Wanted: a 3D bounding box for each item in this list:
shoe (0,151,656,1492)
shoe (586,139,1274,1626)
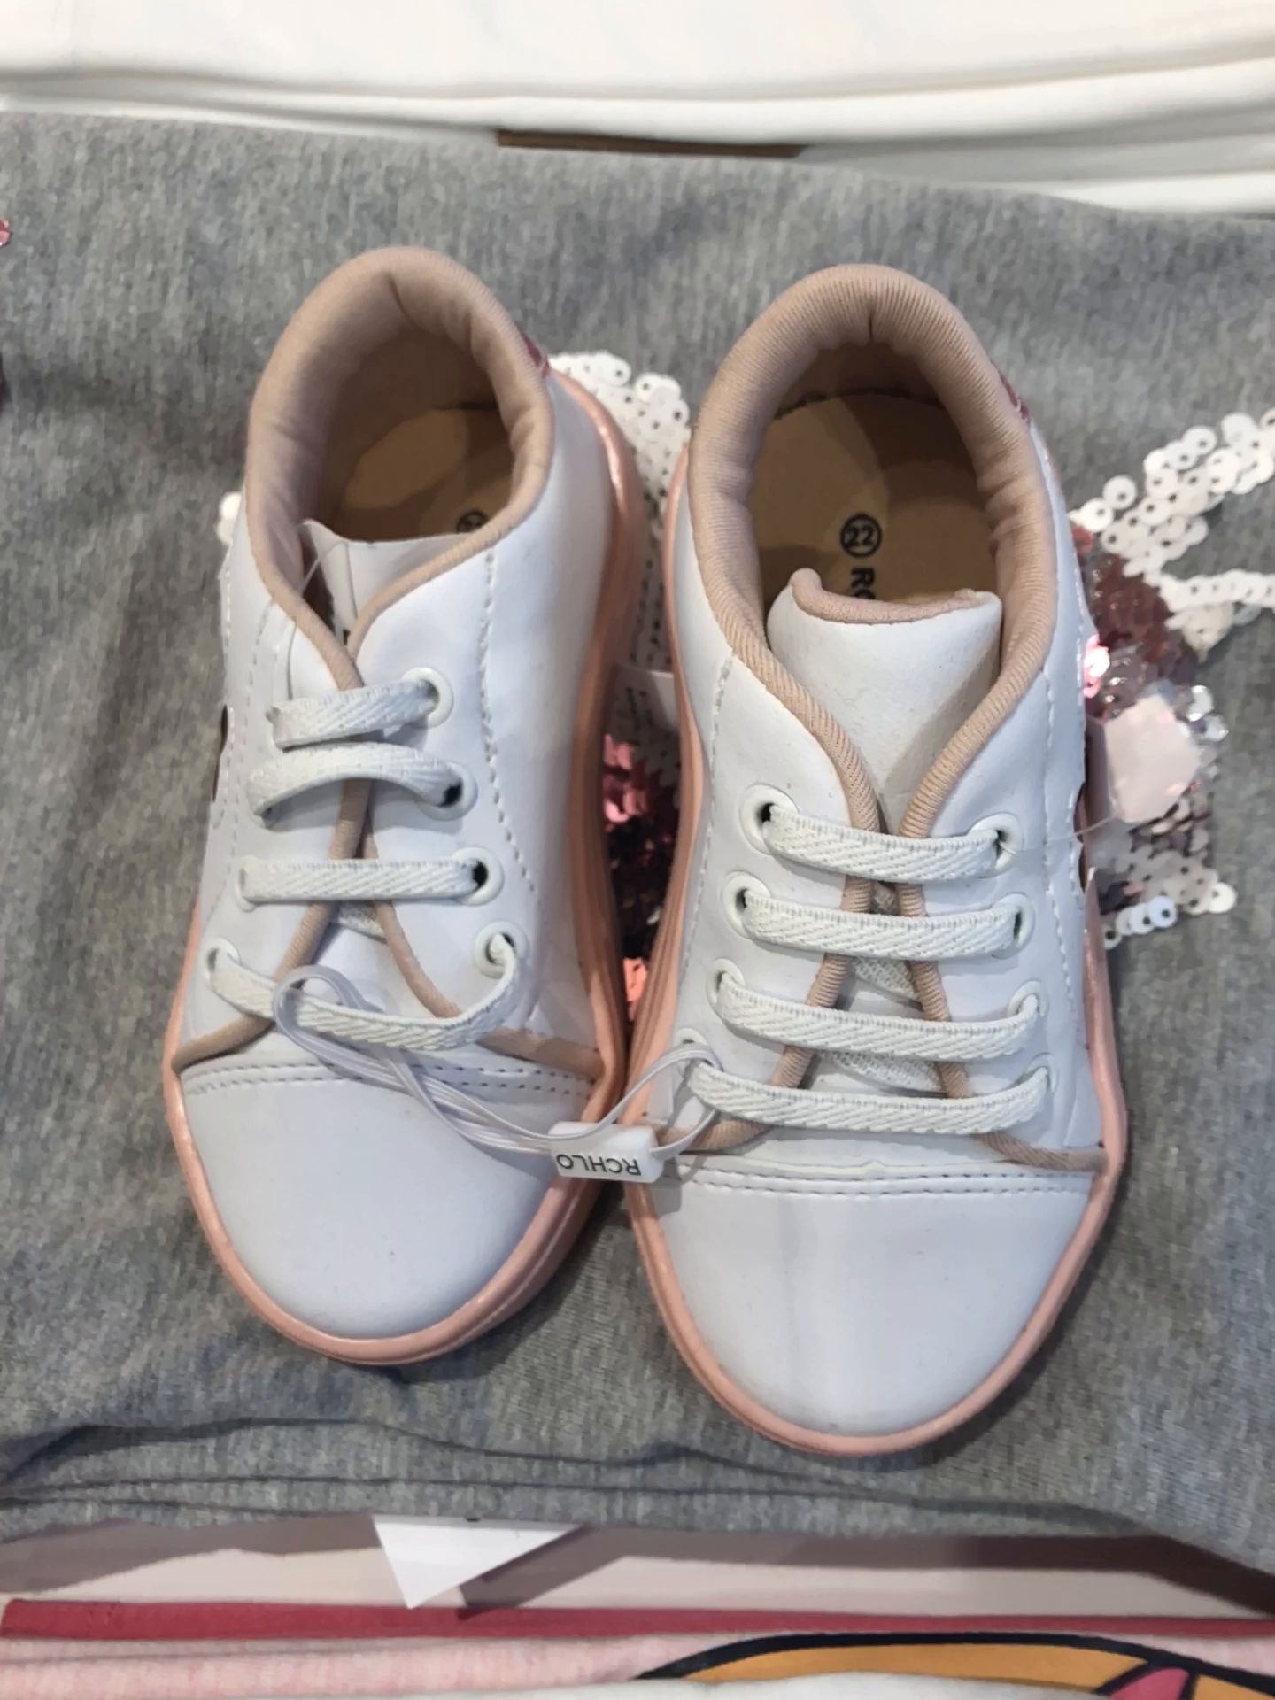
[{"bbox_3d":[-0.038,-0.003,0.201,0.070,0.070,0.150,4,89,0],"label":"shoe"},{"bbox_3d":[0.031,0.003,0.182,0.070,0.070,0.150,-1,86,-1],"label":"shoe"}]
